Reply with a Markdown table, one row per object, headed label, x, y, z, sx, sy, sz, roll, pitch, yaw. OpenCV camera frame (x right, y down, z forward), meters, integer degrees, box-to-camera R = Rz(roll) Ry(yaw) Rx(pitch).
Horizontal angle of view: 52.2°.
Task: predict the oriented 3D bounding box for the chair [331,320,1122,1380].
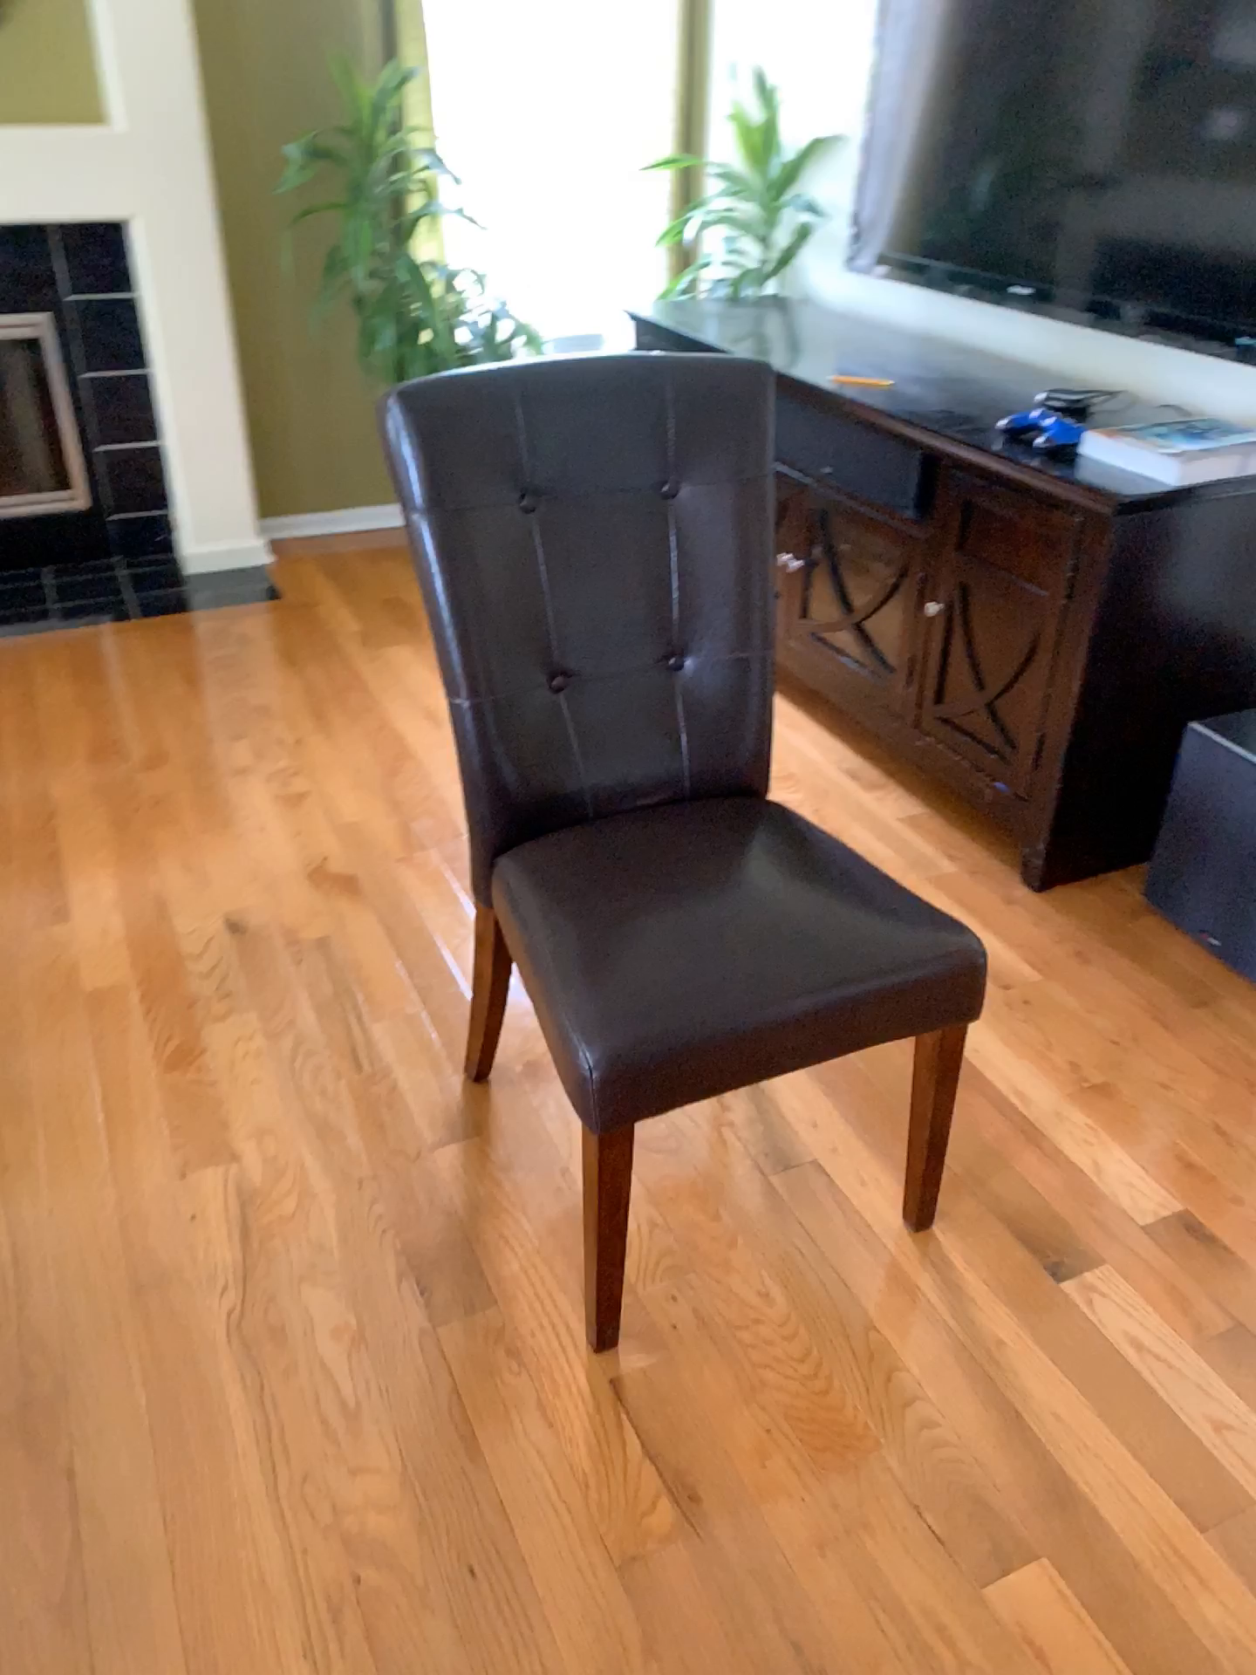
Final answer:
| label | x | y | z | sx | sy | sz | roll | pitch | yaw |
| --- | --- | --- | --- | --- | --- | --- | --- | --- | --- |
| chair | 0.037 | -0.039 | 1.571 | 0.538 | 0.977 | 0.726 | -12 | 33 | -21 |
